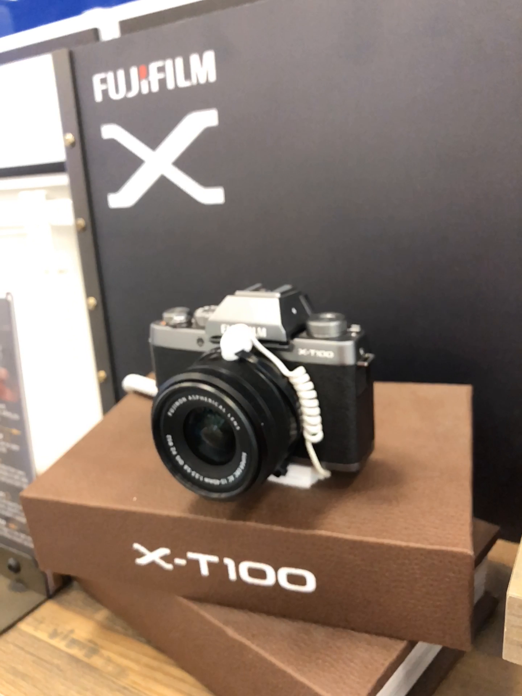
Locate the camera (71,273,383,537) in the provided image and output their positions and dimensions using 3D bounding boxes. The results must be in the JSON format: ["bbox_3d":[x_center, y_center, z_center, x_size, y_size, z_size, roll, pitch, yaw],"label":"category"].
[{"bbox_3d":[-0.012,0.017,0.300,0.120,0.090,0.090,6,20,31],"label":"camera"}]
